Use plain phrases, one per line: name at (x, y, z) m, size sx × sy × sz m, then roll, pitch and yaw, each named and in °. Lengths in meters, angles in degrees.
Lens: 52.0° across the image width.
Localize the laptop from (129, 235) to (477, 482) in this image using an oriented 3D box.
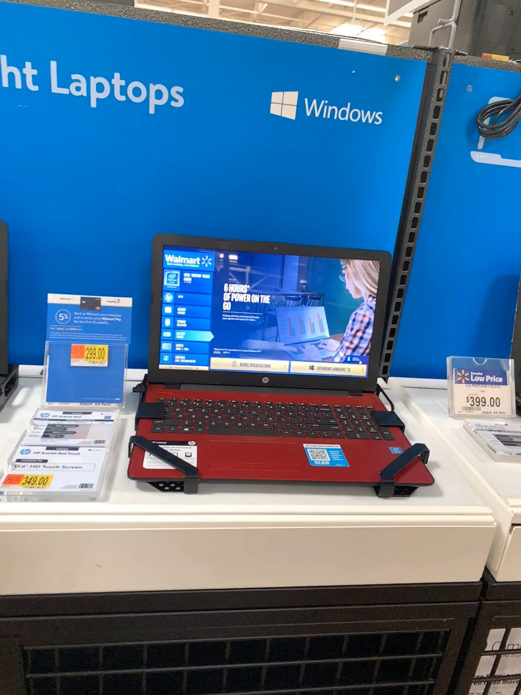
laptop at (0.030, 0.000, 0.720) m, size 0.364 × 0.223 × 0.280 m, roll 3°, pitch 21°, yaw -7°
